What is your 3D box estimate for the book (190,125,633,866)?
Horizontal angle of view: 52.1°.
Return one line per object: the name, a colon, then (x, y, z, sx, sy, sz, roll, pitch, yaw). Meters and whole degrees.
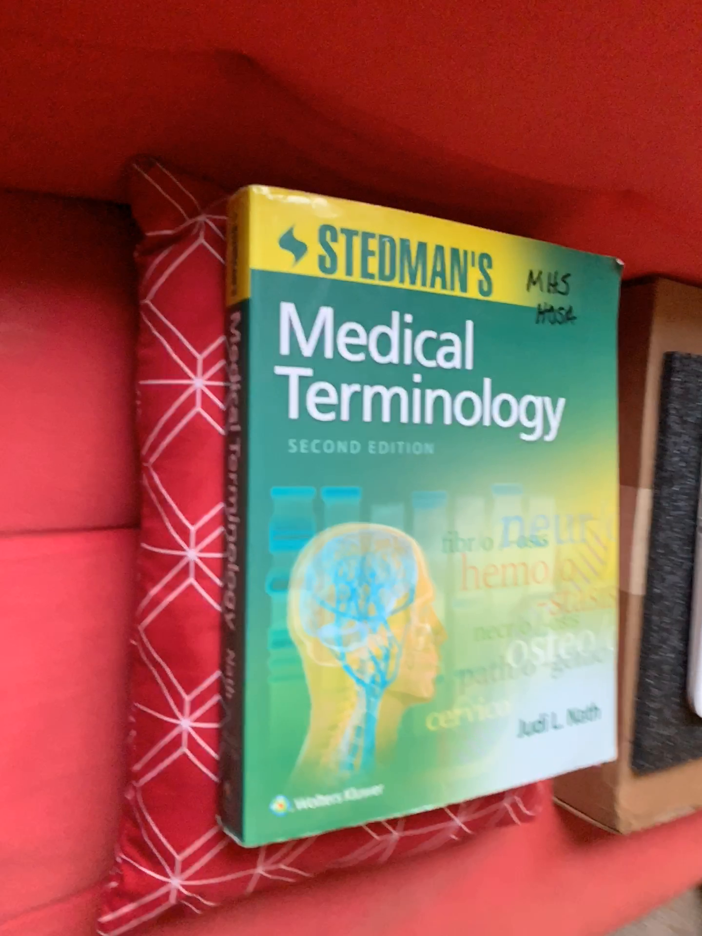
book: (0.043, 0.014, 0.370, 0.241, 0.040, 0.300, 0, 92, -31)
